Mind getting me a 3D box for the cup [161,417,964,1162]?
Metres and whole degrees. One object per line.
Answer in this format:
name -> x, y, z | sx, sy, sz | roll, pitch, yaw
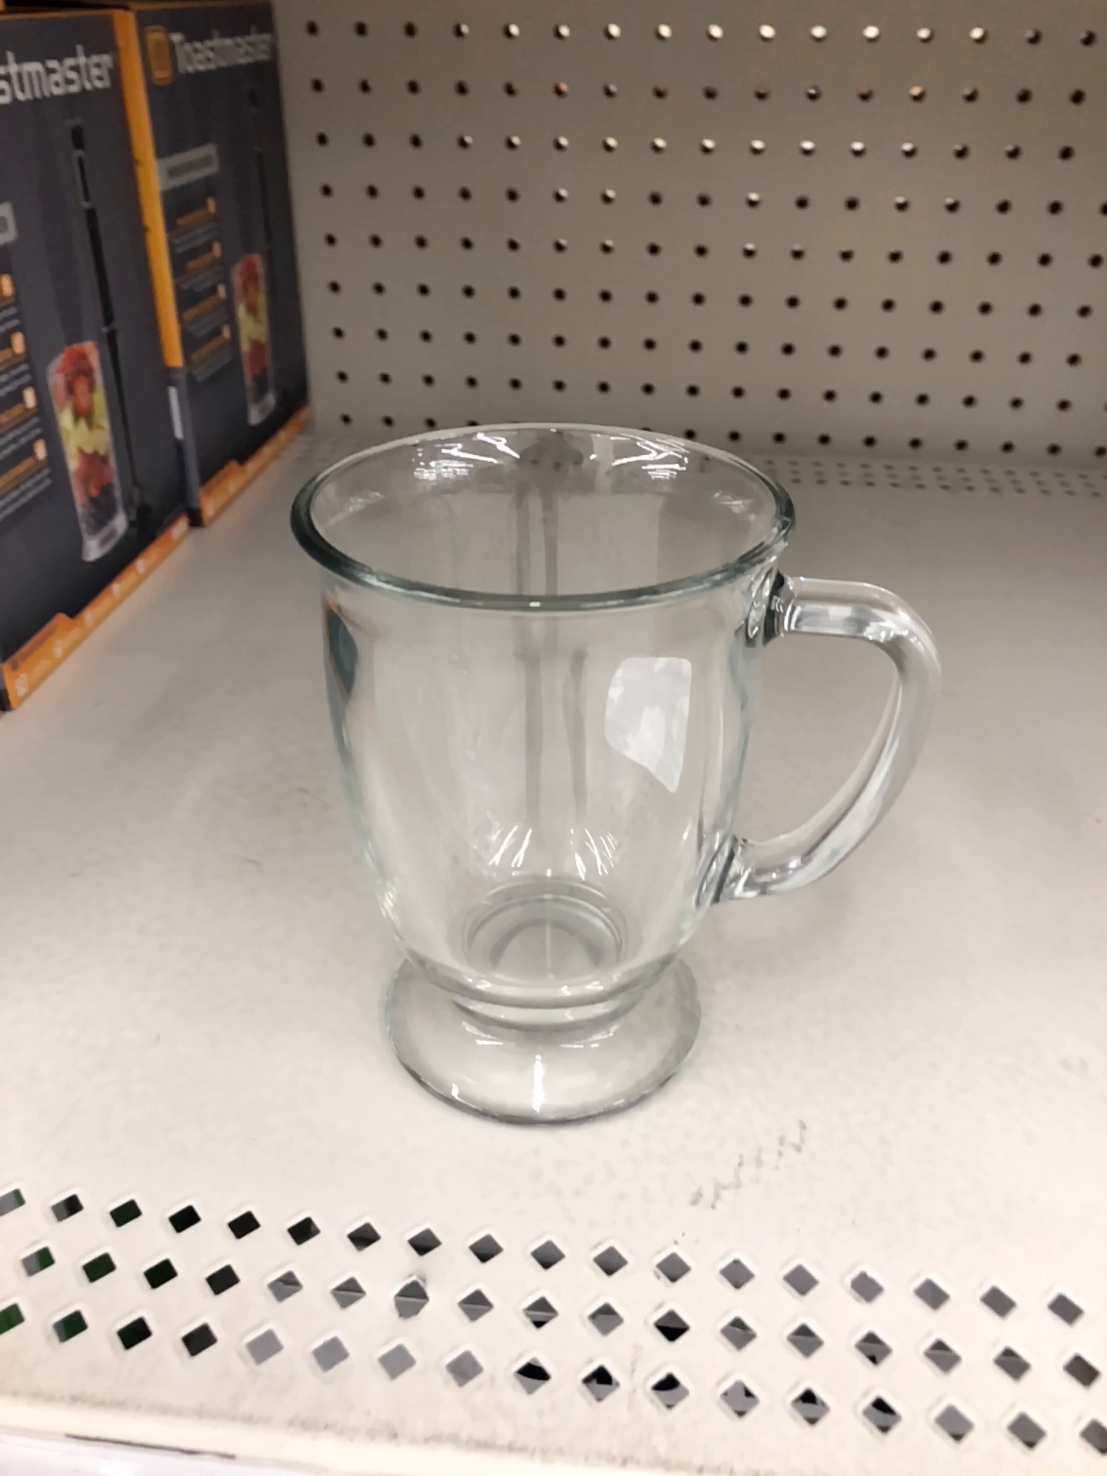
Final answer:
cup -> 0.006, 0.006, 0.289 | 0.138, 0.128, 0.110 | 3, 31, 6
